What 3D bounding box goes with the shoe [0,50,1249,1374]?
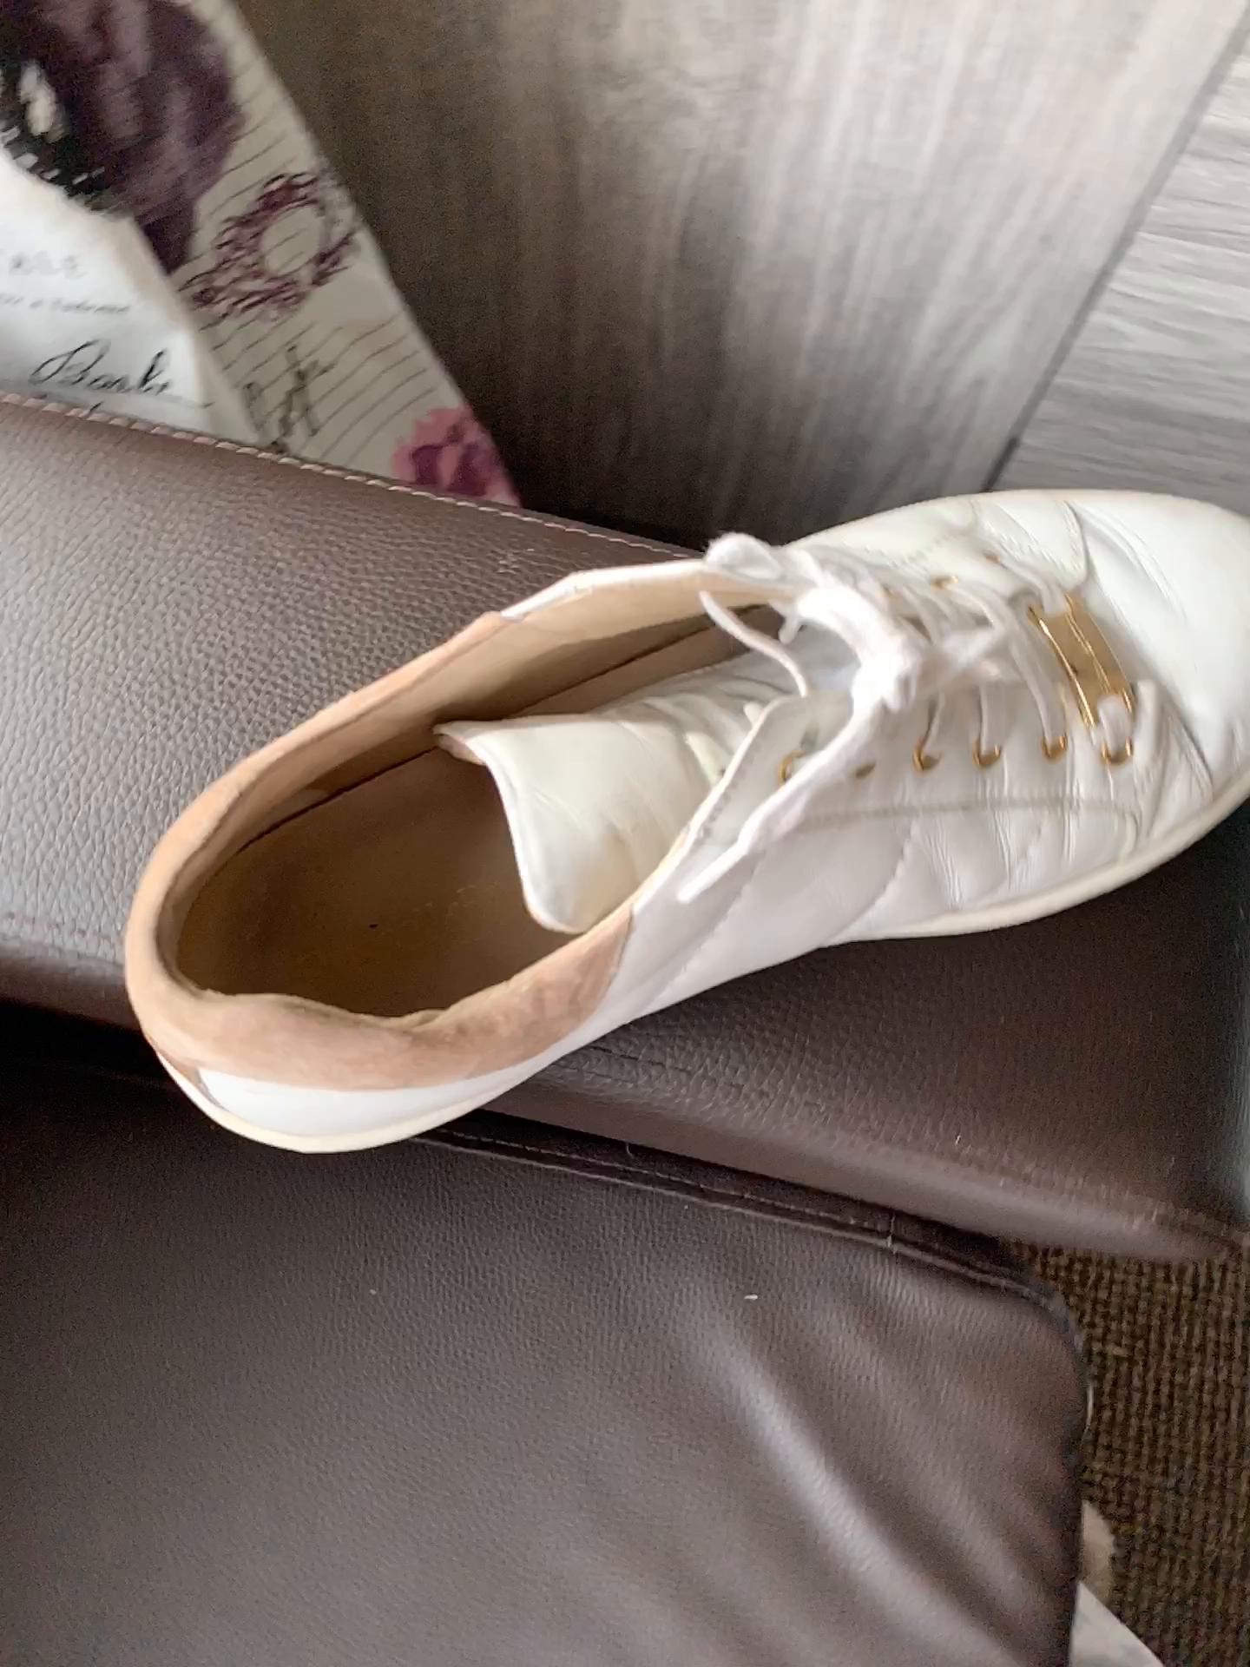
[{"bbox_3d":[0.031,-0.020,0.241,0.270,0.110,0.110,-23,76,-9],"label":"shoe"}]
